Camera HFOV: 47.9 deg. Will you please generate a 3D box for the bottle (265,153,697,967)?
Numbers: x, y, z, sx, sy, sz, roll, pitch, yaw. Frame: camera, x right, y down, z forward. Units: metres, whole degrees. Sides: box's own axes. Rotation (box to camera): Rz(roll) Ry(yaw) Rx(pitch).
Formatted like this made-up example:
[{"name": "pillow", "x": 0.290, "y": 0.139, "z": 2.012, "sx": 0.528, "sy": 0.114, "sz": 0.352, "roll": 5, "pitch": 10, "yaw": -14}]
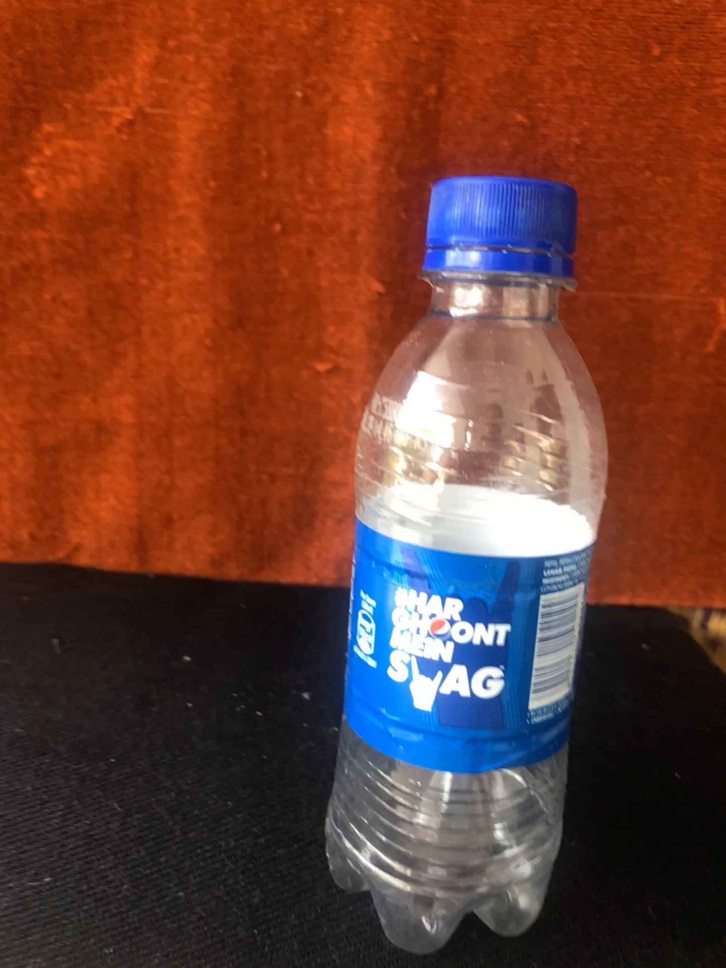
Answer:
[{"name": "bottle", "x": 0.022, "y": 0.023, "z": 0.177, "sx": 0.060, "sy": 0.169, "sz": 0.050, "roll": 12, "pitch": 18, "yaw": 23}]
